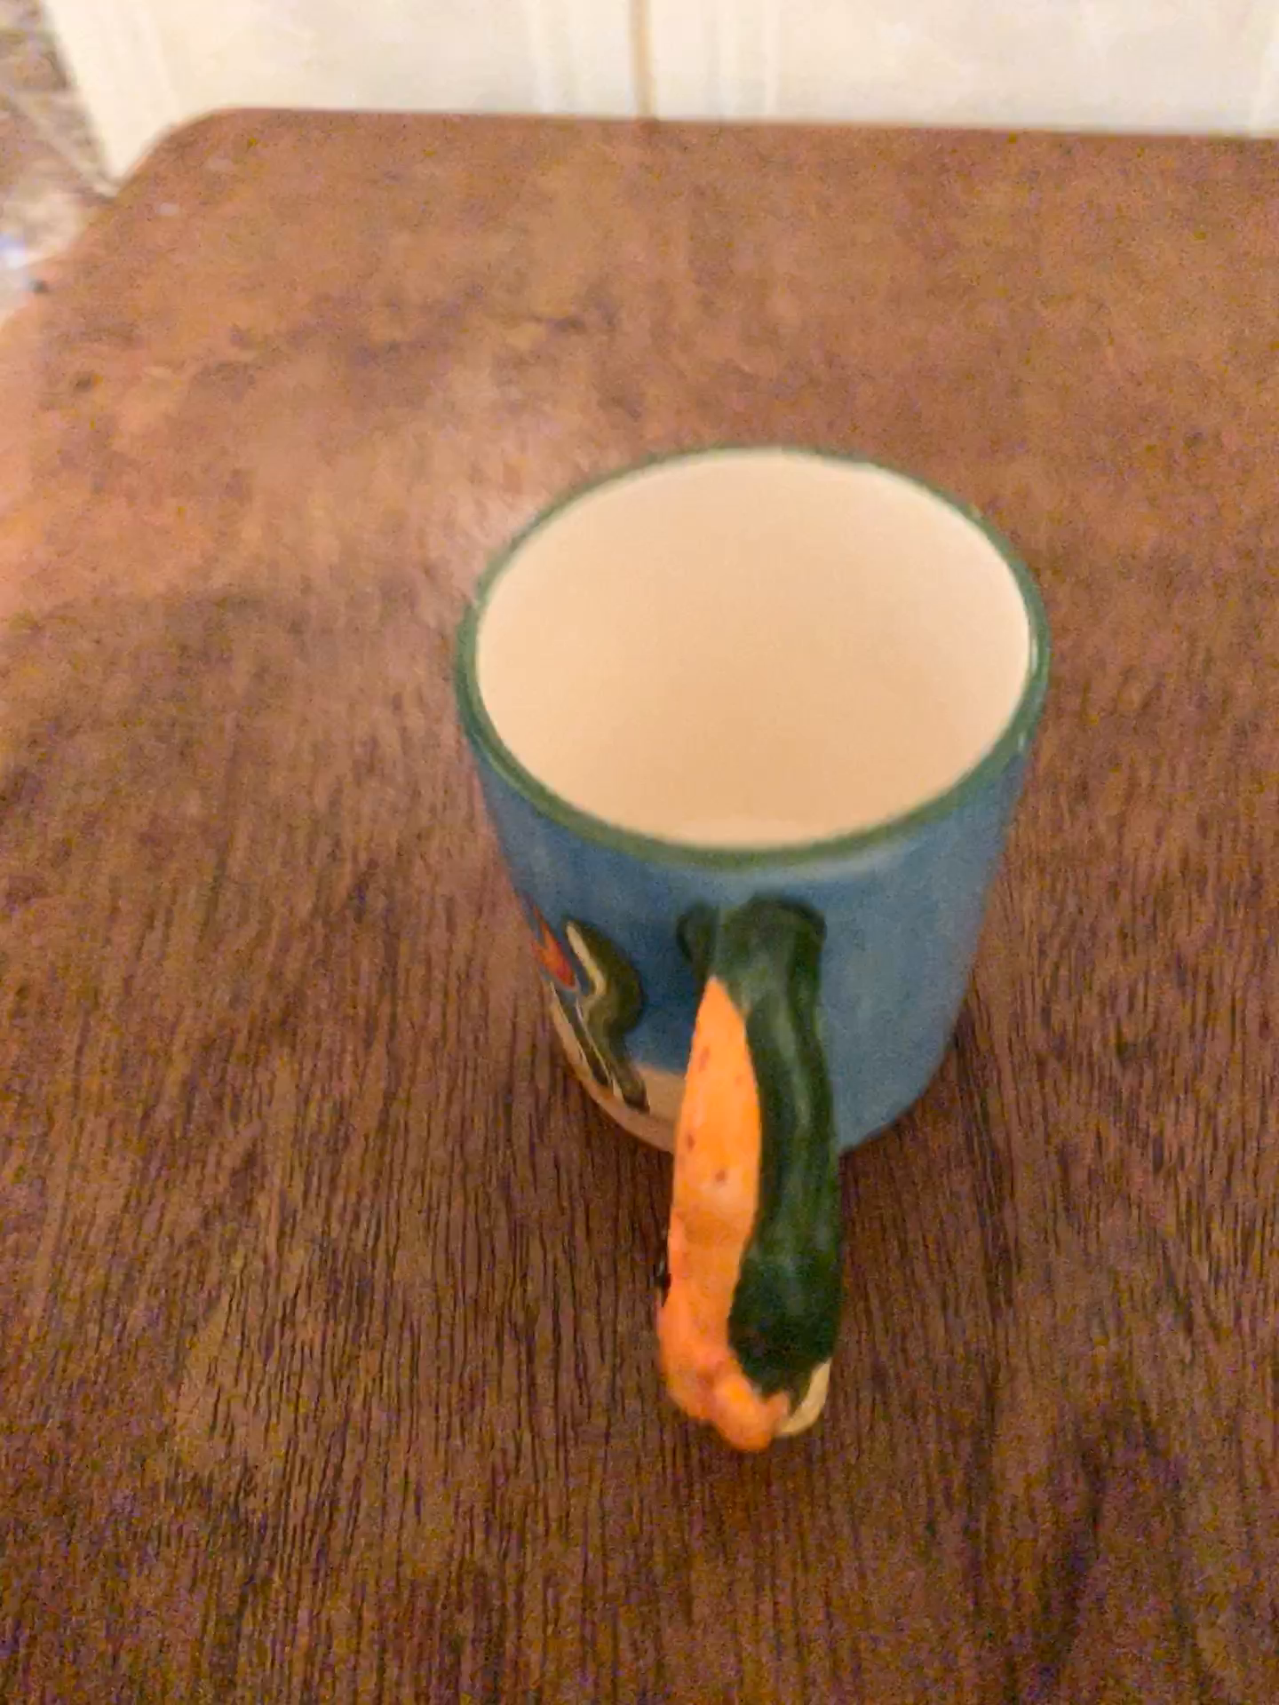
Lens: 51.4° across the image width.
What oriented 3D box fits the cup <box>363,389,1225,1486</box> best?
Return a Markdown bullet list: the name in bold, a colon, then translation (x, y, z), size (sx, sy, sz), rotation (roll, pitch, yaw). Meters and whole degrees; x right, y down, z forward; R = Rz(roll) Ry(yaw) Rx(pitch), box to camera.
- **cup**: translation (0.017, 0.015, 0.202), size (0.080, 0.100, 0.131), rotation (-3, 54, 3)
